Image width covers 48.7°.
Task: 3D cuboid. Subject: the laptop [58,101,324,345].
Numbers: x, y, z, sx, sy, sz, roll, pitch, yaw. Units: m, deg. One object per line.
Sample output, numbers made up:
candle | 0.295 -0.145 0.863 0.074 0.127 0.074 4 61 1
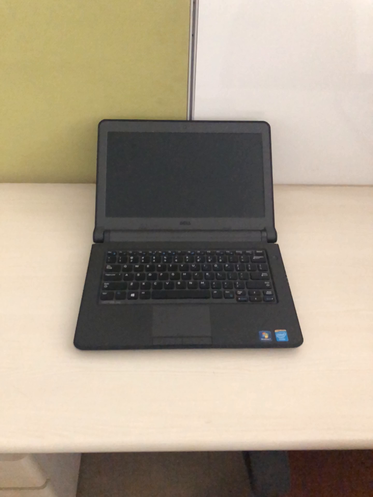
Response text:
laptop | 0.001 -0.068 0.669 0.316 0.122 0.418 0 48 -3
